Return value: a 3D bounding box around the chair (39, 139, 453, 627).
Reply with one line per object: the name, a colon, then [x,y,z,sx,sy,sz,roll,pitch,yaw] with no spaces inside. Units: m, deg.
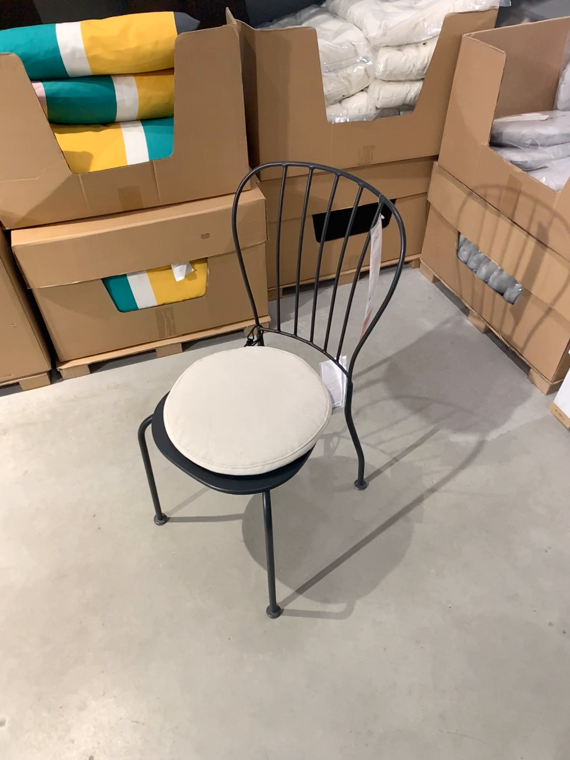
chair: [-0.052,0.025,1.280,0.481,0.817,0.521,31,53,27]
